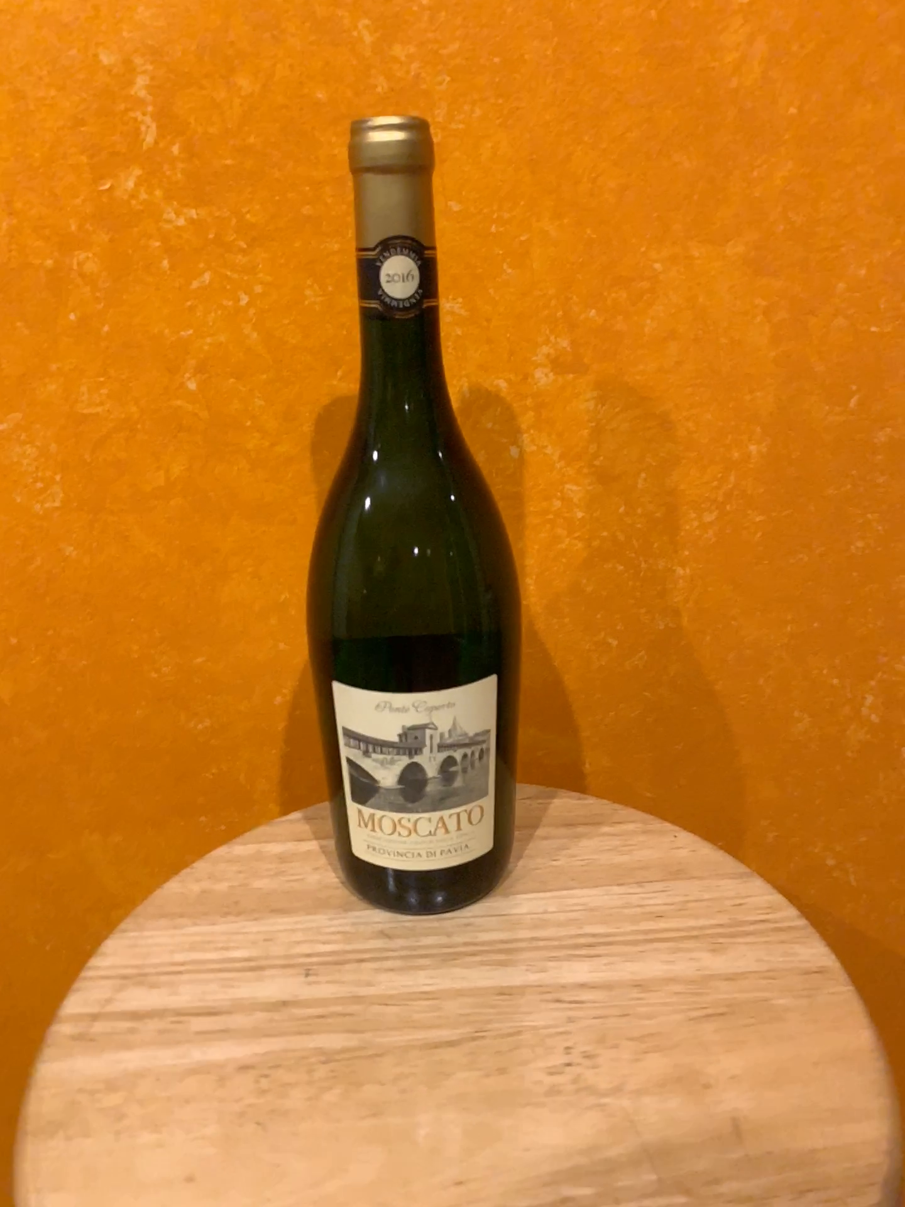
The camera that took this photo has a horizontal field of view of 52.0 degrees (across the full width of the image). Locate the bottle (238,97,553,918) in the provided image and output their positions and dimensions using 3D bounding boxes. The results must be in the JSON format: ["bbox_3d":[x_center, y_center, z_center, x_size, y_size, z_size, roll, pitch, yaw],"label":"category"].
[{"bbox_3d":[-0.012,-0.022,0.350,0.090,0.289,0.070,-1,22,1],"label":"bottle"}]
